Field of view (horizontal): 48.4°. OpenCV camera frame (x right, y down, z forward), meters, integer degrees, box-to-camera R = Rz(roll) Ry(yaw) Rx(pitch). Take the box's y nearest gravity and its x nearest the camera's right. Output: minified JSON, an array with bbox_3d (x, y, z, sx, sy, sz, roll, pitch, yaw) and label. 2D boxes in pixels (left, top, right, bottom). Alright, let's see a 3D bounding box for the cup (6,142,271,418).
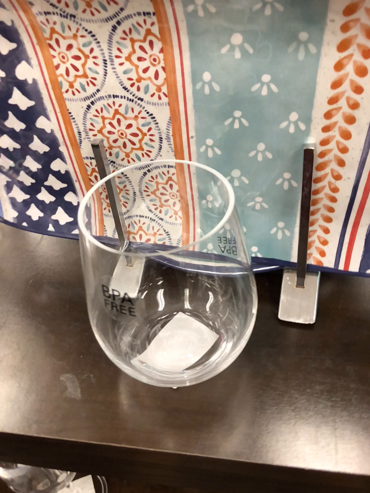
[{"bbox_3d":[-0.010,0.014,0.220,0.094,0.097,0.094,-4,43,4],"label":"cup"}]
